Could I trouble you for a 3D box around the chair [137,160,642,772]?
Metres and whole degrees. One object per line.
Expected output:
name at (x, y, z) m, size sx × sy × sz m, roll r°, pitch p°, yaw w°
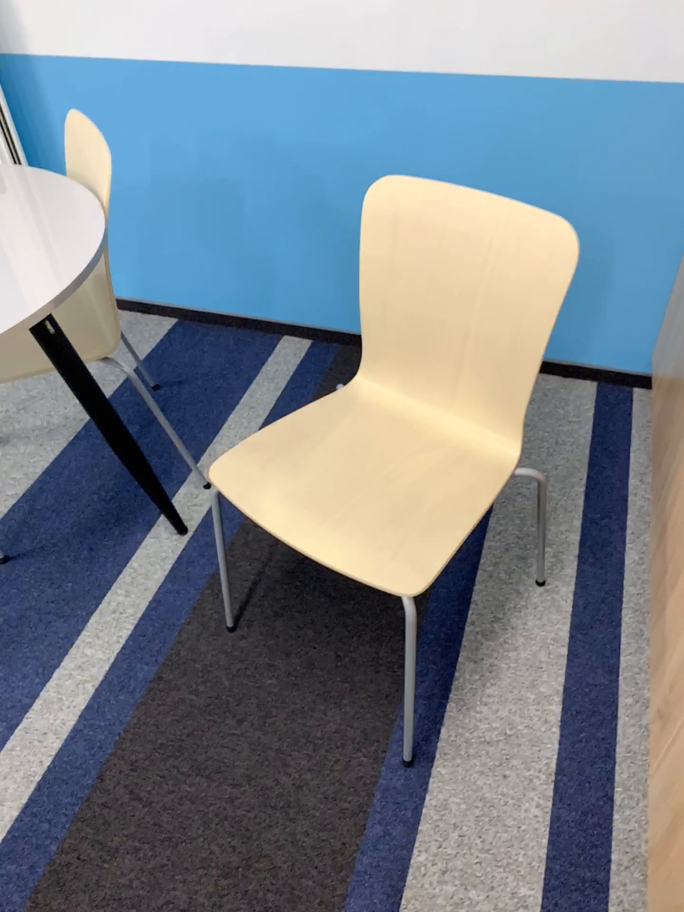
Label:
chair at (0.103, 0.016, 1.281) m, size 0.477 × 0.836 × 0.572 m, roll 27°, pitch 50°, yaw 30°
